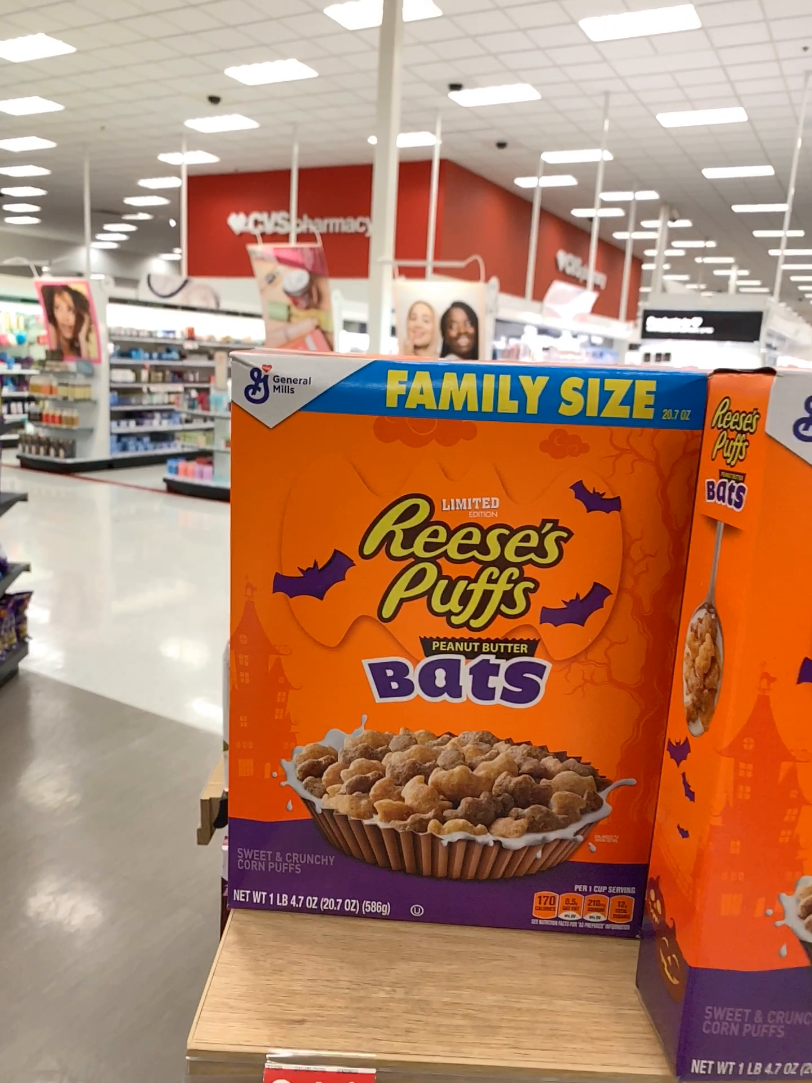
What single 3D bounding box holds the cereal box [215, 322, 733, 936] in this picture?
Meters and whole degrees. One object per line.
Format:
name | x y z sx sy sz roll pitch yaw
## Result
cereal box | 0.025 0.047 0.457 0.240 0.309 0.070 3 12 2
